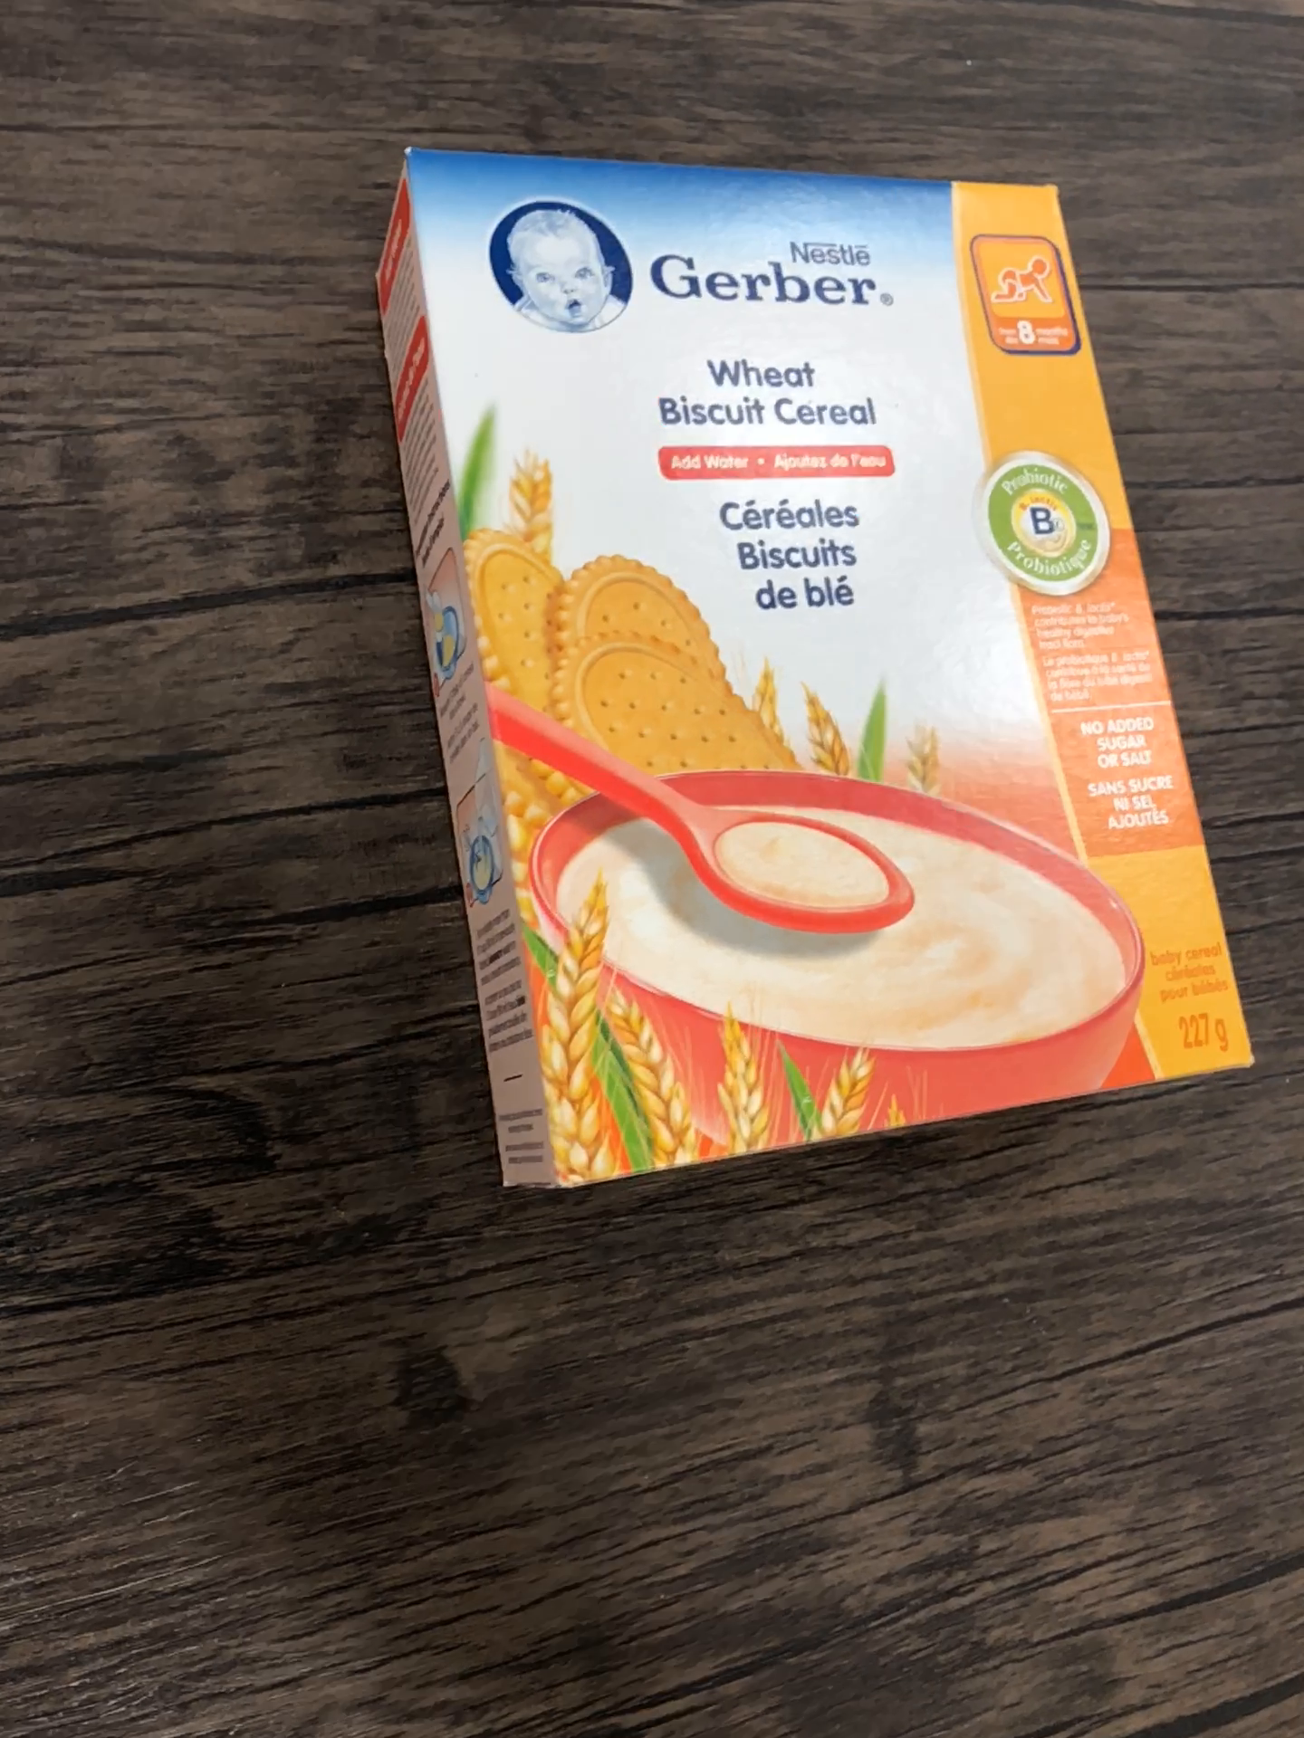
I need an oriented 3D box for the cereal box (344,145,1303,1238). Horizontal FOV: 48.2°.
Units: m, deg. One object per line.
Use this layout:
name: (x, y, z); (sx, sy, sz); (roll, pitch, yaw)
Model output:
cereal box: (0.036, -0.037, 0.275); (0.160, 0.040, 0.180); (-6, 81, -19)
